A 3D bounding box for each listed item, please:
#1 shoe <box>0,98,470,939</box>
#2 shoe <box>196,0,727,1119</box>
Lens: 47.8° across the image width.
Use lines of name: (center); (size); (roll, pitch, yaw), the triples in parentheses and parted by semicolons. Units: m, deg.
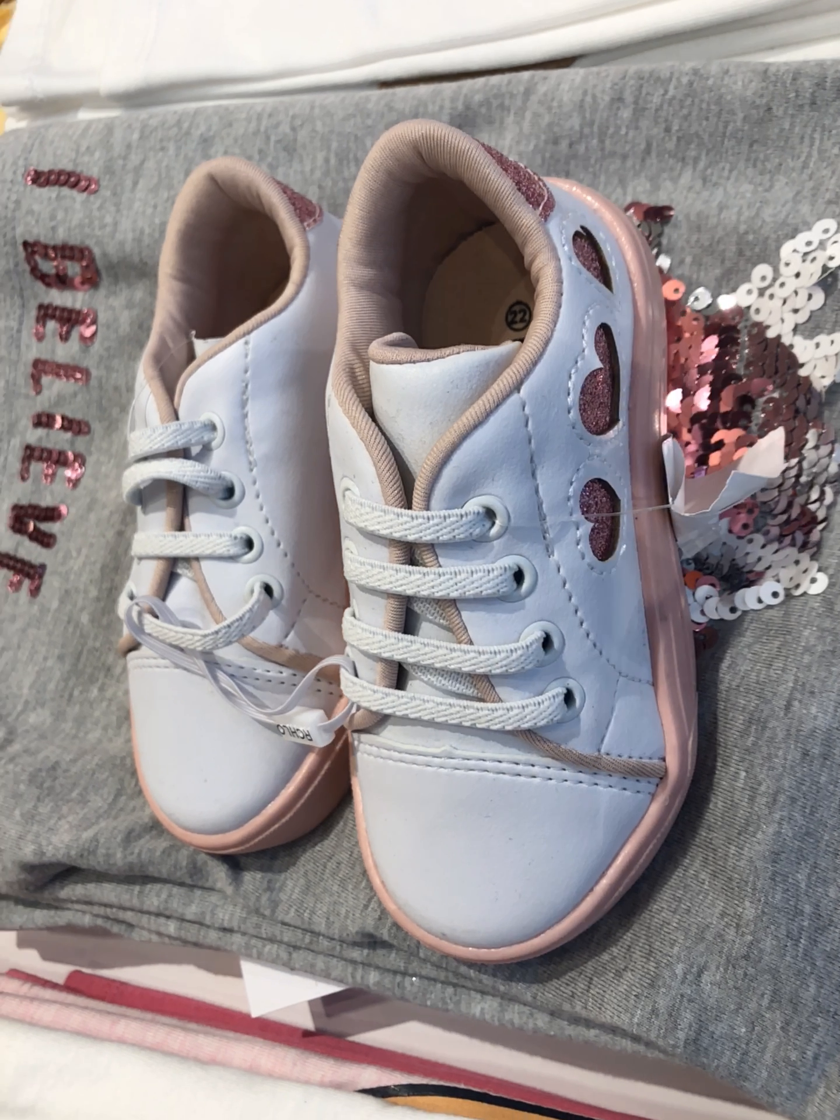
shoe: (-0.042, -0.010, 0.214); (0.070, 0.070, 0.150); (6, 90, 22)
shoe: (0.015, -0.002, 0.169); (0.070, 0.070, 0.150); (0, 84, 21)
